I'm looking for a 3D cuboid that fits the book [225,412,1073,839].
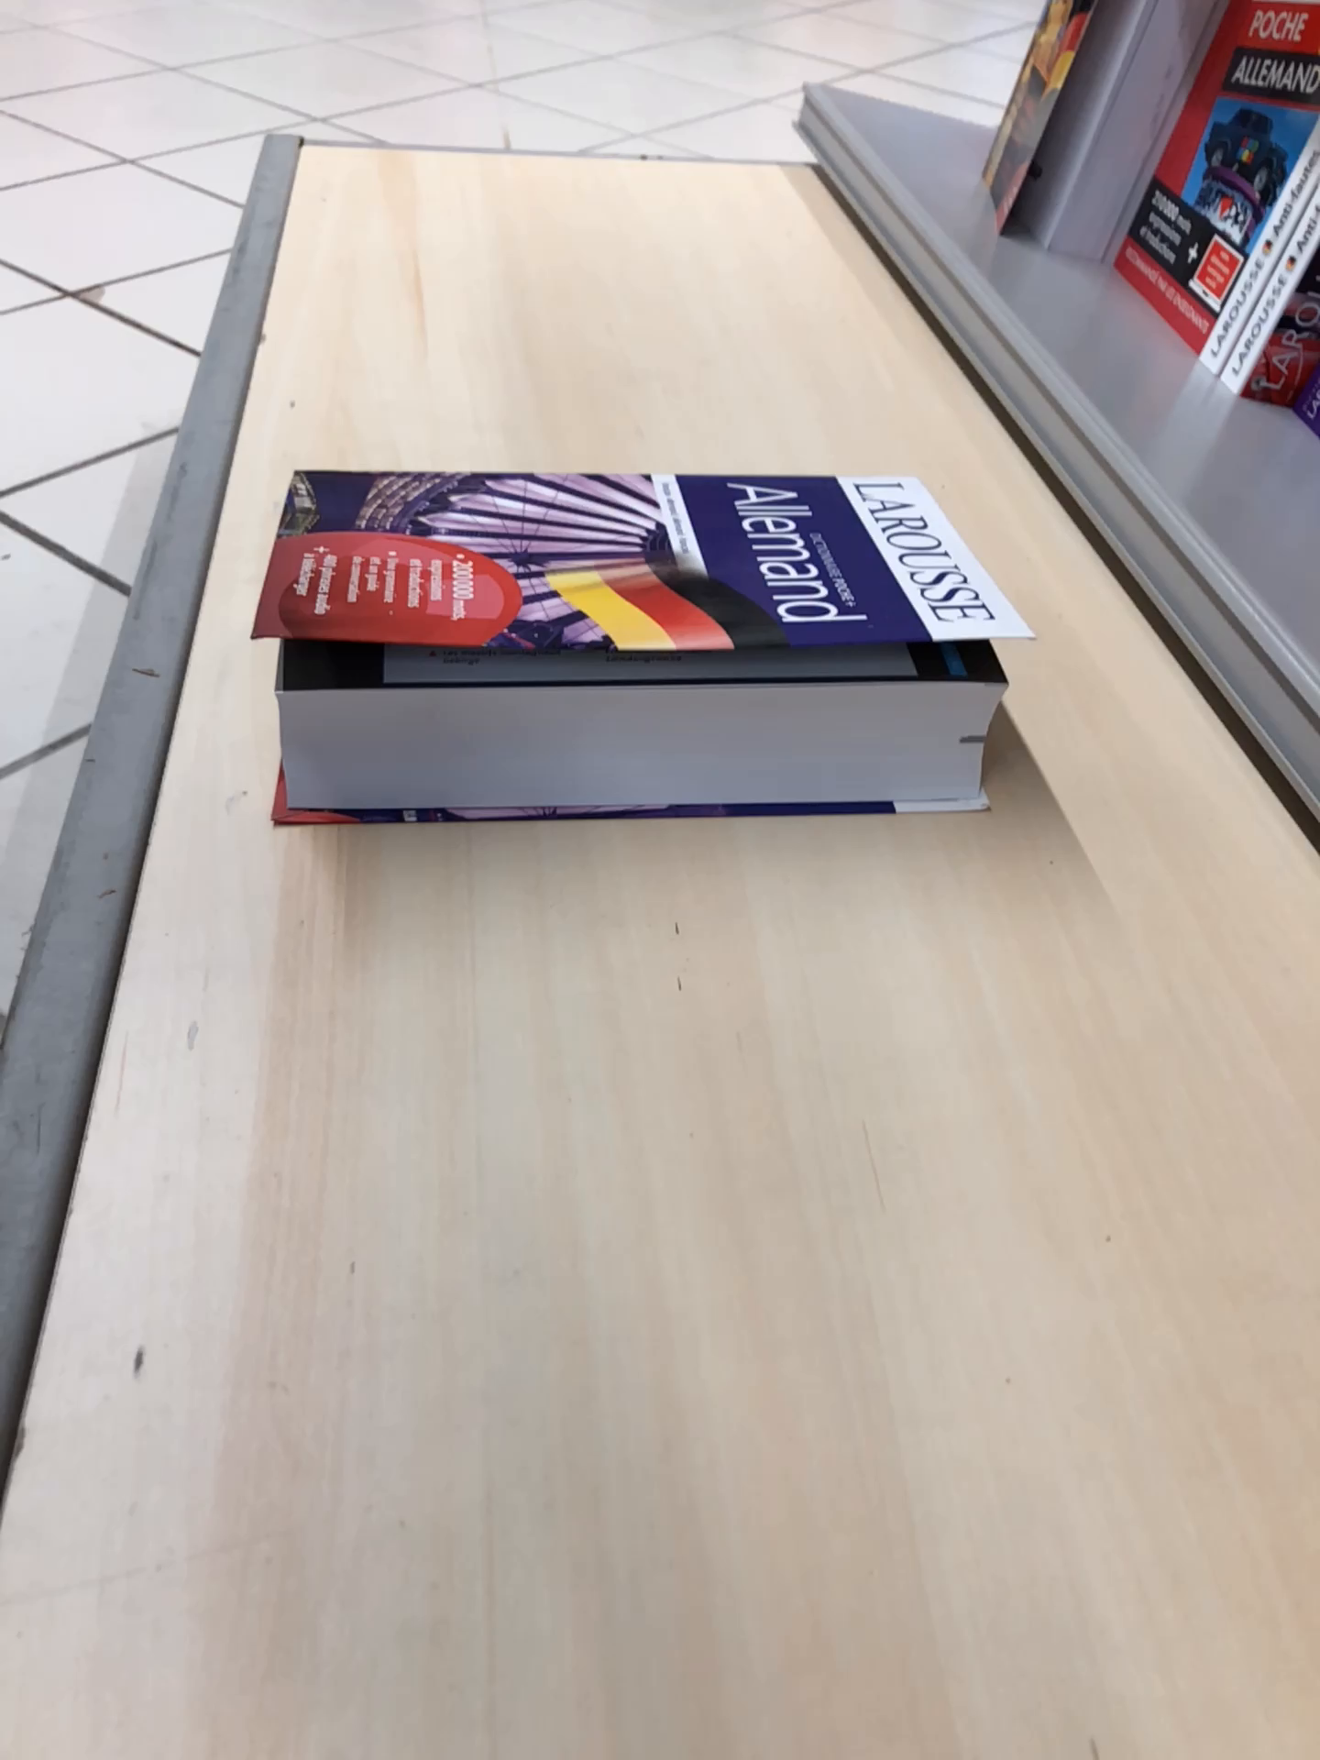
[{"bbox_3d":[-0.007,-0.070,0.371,0.181,0.050,0.121,-1,40,-6],"label":"book"}]
